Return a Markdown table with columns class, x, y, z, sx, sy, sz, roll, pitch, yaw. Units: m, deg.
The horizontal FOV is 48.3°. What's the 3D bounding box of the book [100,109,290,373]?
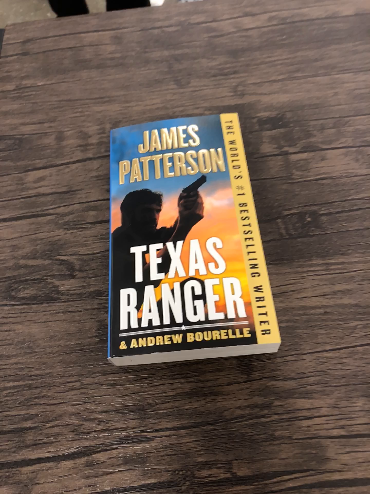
| class | x | y | z | sx | sy | sz | roll | pitch | yaw |
| --- | --- | --- | --- | --- | --- | --- | --- | --- | --- |
| book | -0.001 | -0.012 | 0.292 | 0.107 | 0.040 | 0.181 | -6 | 61 | 0 |
